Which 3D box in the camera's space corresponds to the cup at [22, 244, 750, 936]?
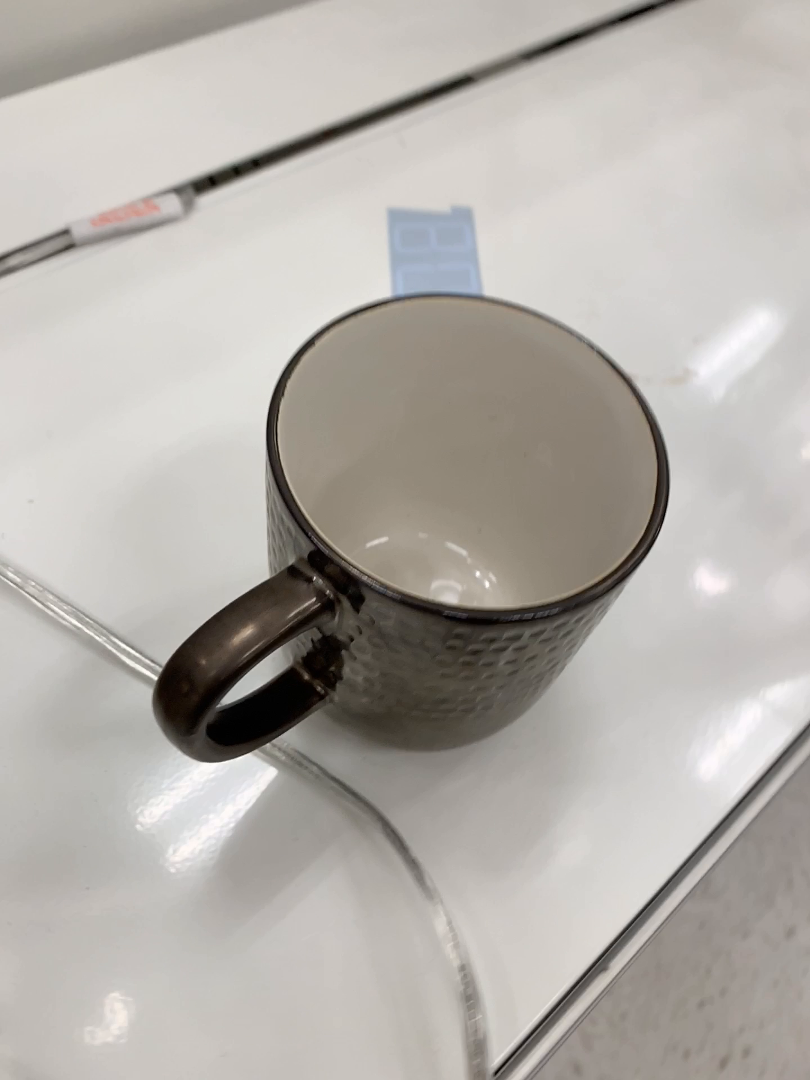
[{"bbox_3d":[-0.003,0.012,0.224,0.095,0.093,0.131,43,62,17],"label":"cup"}]
